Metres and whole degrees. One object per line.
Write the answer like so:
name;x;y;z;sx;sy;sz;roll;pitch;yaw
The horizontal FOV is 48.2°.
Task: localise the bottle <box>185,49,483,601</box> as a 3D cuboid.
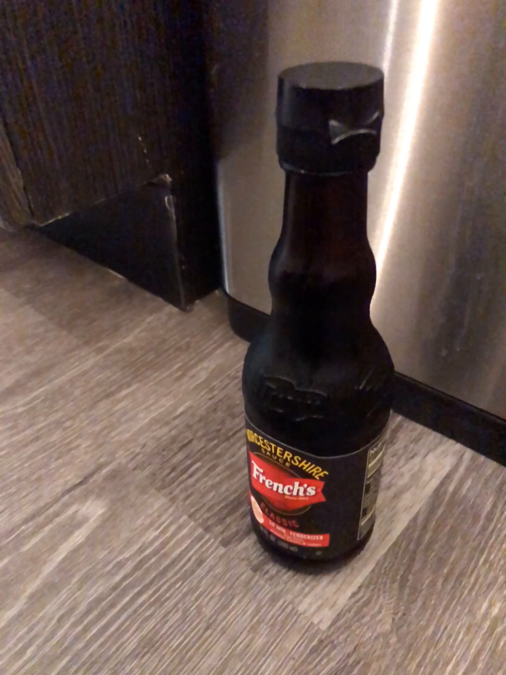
bottle;0.027;0.008;0.216;0.060;0.199;0.060;-2;37;1
